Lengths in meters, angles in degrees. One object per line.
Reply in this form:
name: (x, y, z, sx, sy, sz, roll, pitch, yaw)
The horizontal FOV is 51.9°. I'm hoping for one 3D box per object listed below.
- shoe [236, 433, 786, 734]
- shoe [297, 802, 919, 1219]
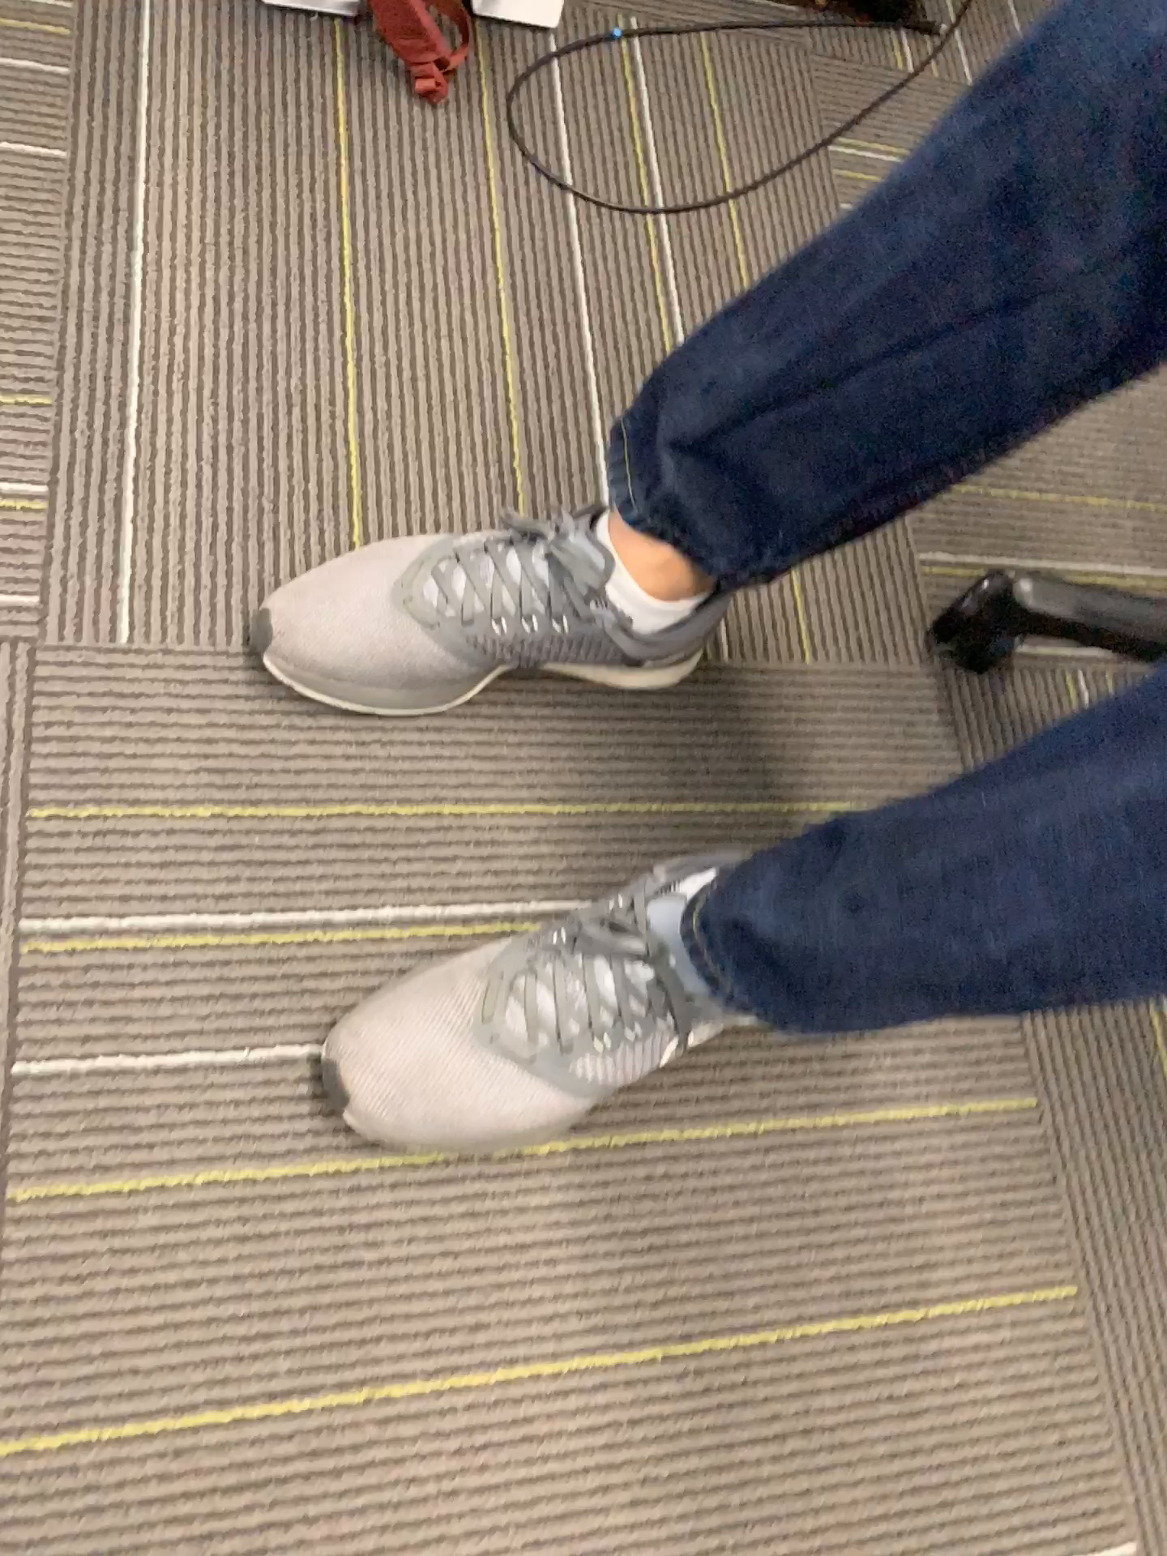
shoe: (-0.049, -0.117, 0.712, 0.290, 0.123, 0.120, -6, 73, -18)
shoe: (0.008, 0.123, 0.648, 0.290, 0.123, 0.120, -15, 76, -21)
